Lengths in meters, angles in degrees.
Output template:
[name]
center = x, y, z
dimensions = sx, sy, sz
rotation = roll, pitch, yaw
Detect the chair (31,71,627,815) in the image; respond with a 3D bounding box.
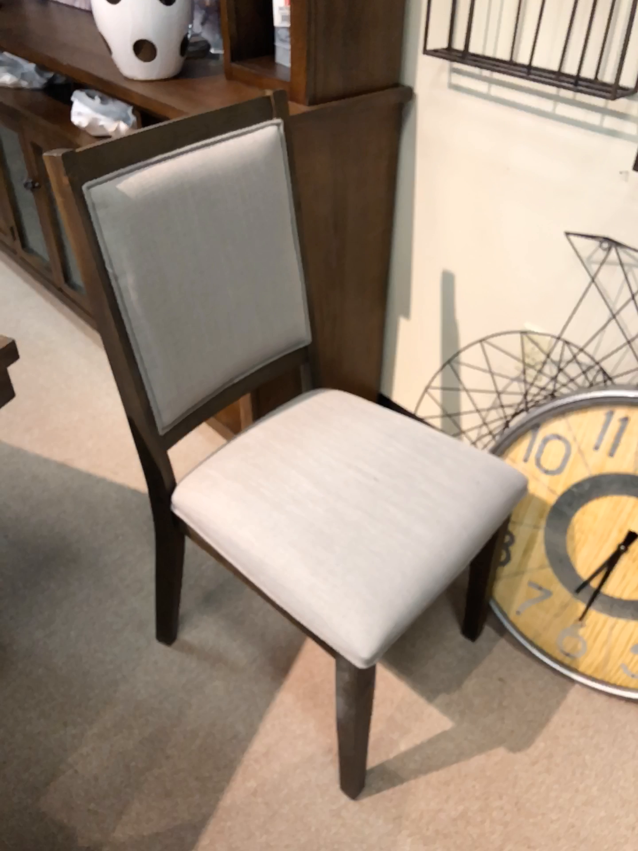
[chair]
center = 0.016, 0.040, 1.081
dimensions = 0.492, 0.923, 0.462
rotation = 28, 46, 30
